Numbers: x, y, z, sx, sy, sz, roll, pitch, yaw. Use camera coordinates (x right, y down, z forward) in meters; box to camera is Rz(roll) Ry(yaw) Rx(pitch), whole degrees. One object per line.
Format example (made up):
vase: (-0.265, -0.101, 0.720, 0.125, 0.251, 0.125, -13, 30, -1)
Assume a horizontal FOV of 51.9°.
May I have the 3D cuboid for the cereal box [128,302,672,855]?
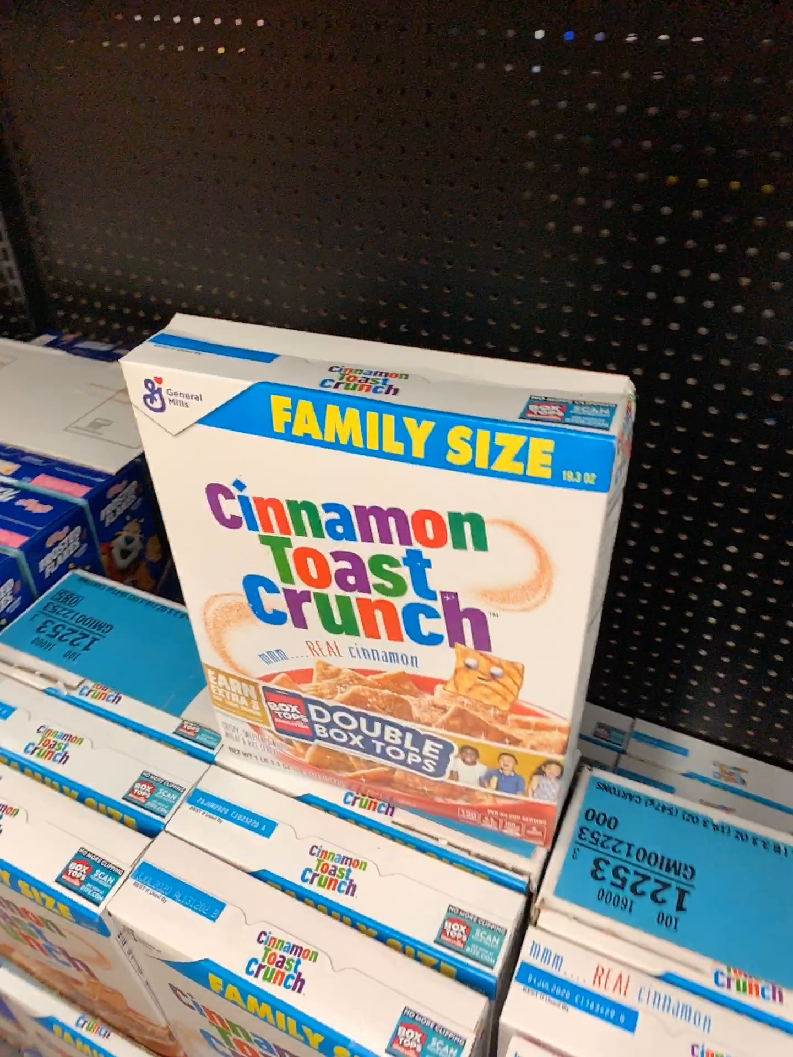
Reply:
cereal box: (0.002, 0.040, 0.460, 0.240, 0.298, 0.060, 11, 40, 17)
